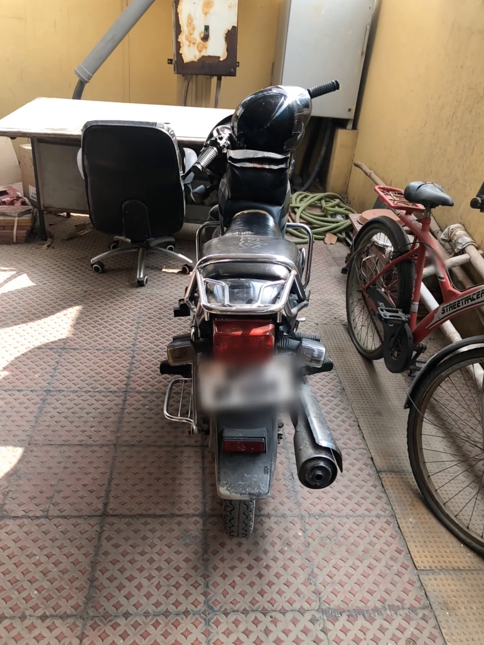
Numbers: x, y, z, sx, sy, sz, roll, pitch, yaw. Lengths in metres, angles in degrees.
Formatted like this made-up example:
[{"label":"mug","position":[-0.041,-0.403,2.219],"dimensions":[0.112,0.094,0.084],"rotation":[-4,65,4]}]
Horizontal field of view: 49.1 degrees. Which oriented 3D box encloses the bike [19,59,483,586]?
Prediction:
[{"label":"bike","position":[-0.128,-0.216,1.766],"dimensions":[0.713,1.027,1.624],"rotation":[2,30,-8]}]
